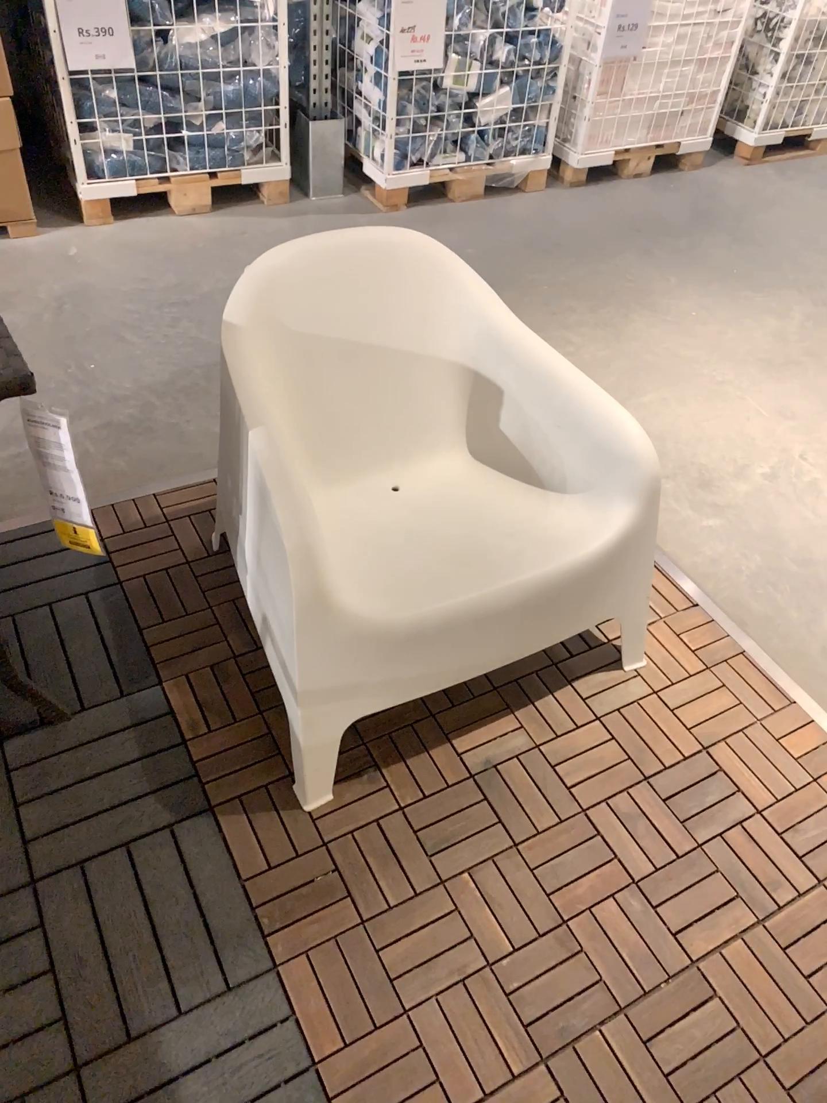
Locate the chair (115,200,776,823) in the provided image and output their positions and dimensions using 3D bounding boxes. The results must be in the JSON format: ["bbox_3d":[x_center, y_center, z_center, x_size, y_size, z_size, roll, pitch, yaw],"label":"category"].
[{"bbox_3d":[-0.009,-0.134,1.544,0.771,0.638,0.762,-17,49,-23],"label":"chair"}]
